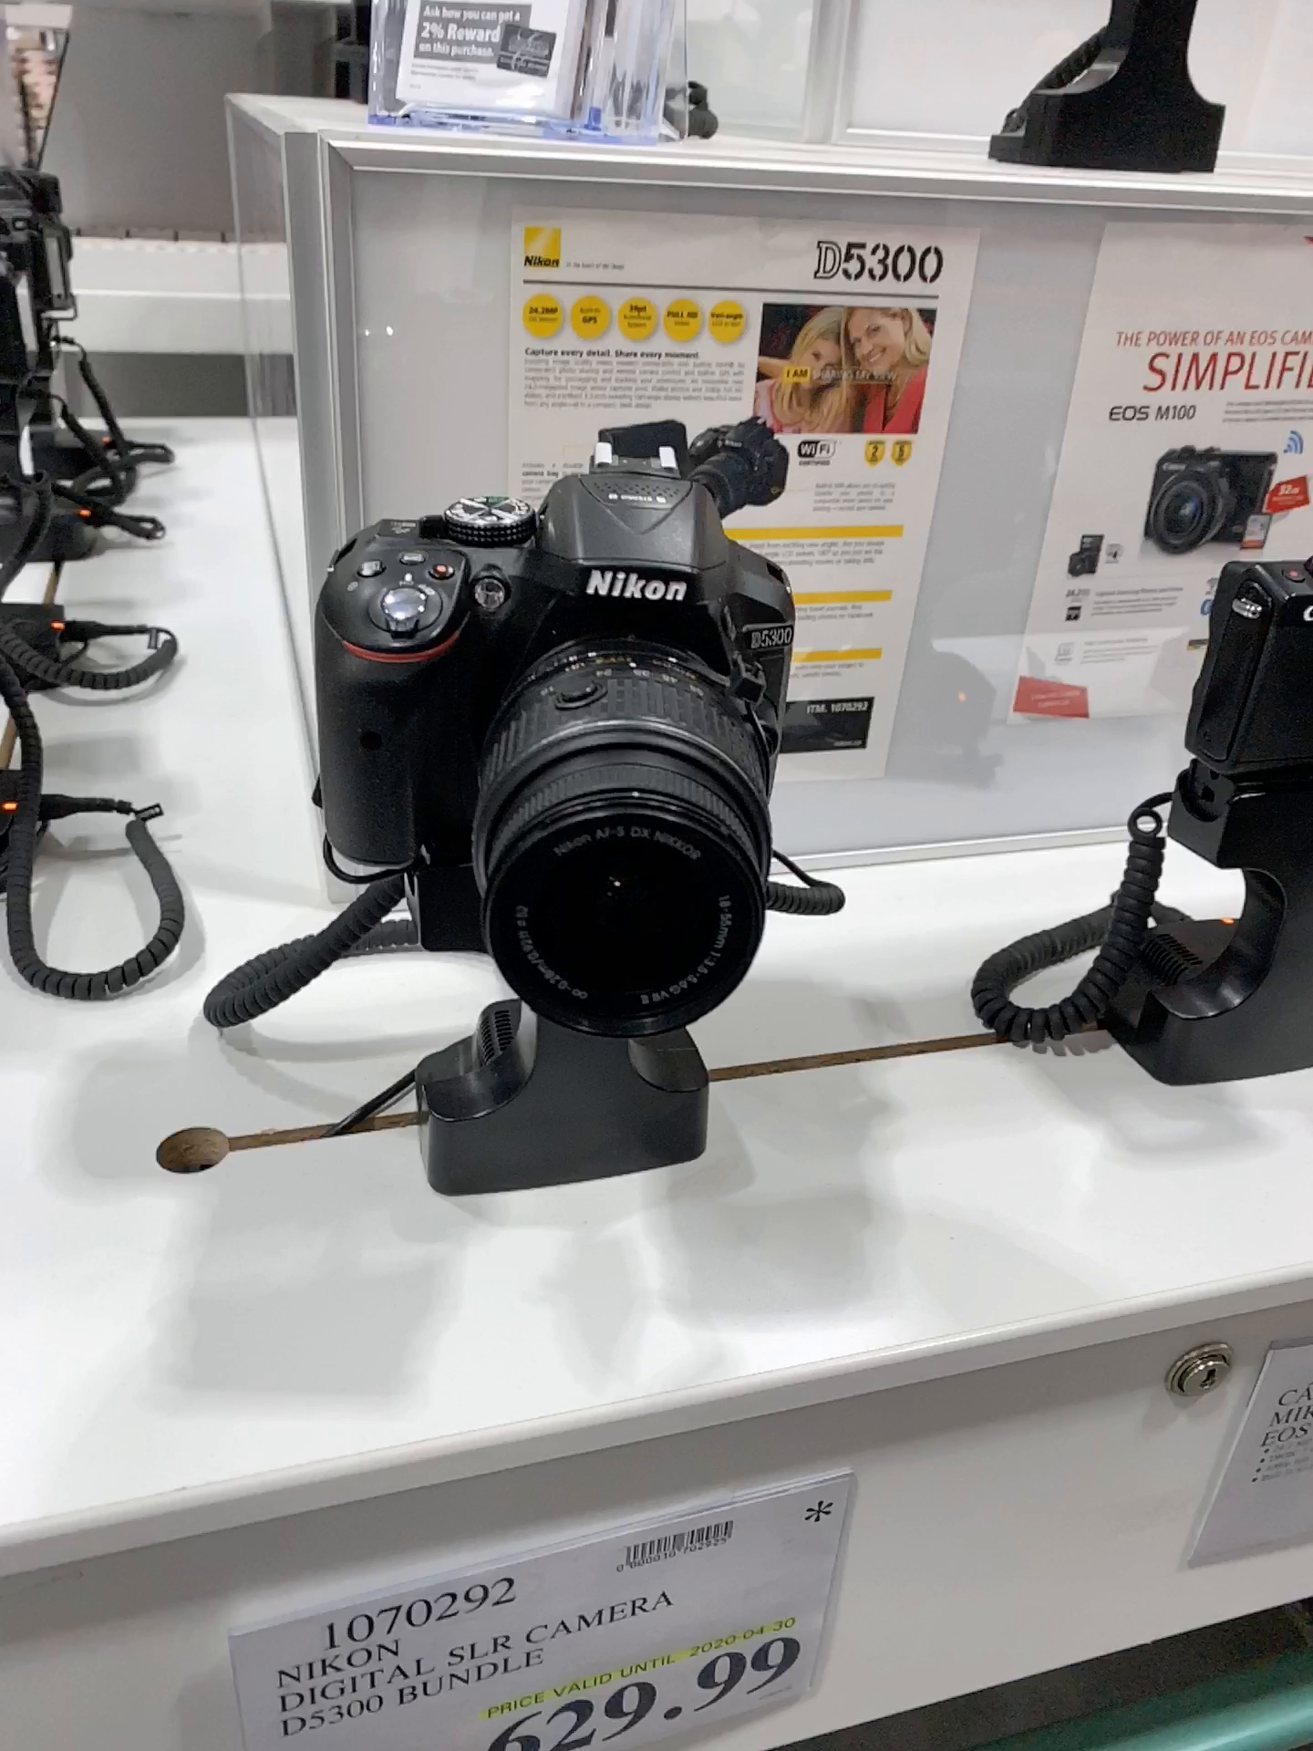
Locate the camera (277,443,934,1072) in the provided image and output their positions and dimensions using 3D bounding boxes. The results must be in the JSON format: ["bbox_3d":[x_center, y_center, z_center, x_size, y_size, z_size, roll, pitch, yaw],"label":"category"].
[{"bbox_3d":[-0.018,-0.038,0.336,0.120,0.099,0.151,0,29,-6],"label":"camera"}]
